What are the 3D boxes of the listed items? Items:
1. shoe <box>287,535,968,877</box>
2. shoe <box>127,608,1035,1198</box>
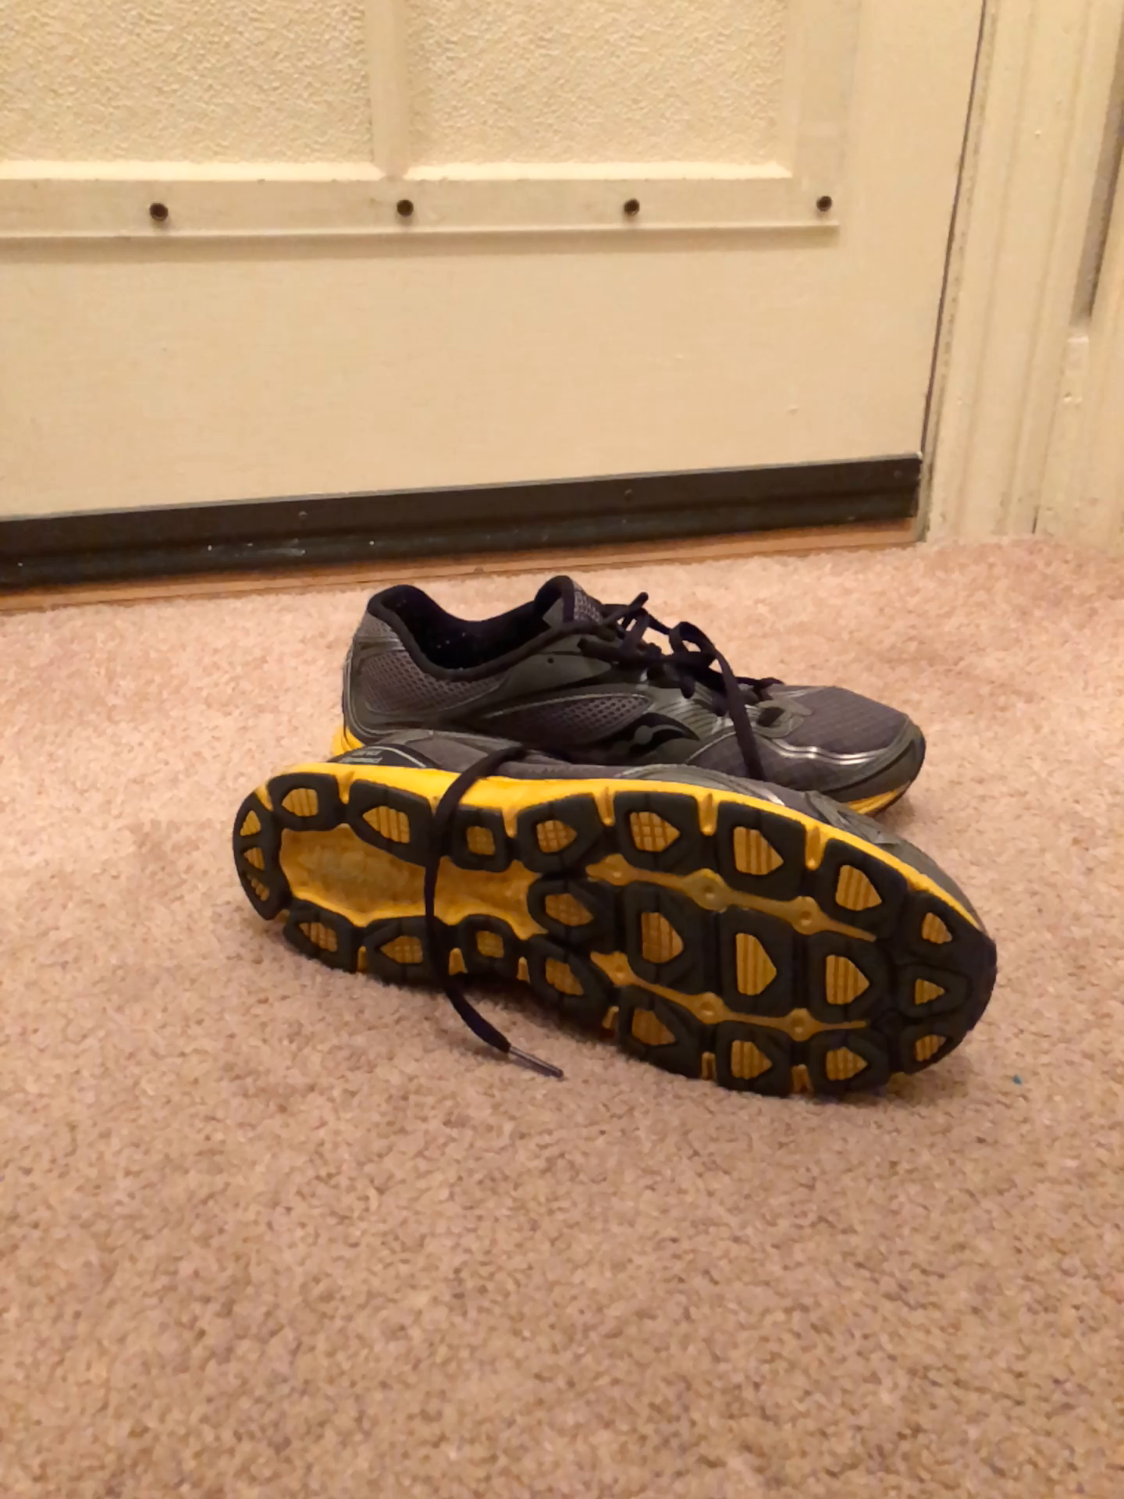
[{"bbox_3d":[0.031,-0.028,0.584,0.283,0.098,0.119,5,27,9],"label":"shoe"},{"bbox_3d":[0.007,0.042,0.454,0.293,0.117,0.110,10,31,18],"label":"shoe"}]
